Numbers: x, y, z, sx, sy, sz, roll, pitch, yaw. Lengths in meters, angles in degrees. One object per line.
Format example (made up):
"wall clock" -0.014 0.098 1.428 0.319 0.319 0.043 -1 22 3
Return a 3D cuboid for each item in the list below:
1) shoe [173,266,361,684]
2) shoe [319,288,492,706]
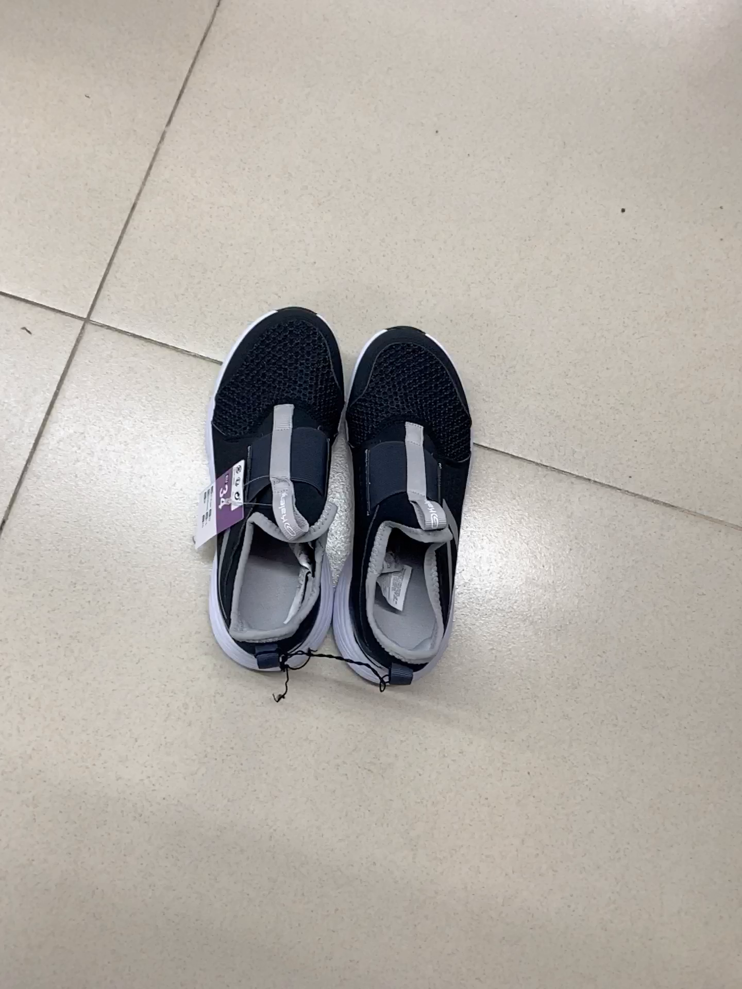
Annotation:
"shoe" -0.062 -0.010 0.495 0.090 0.080 0.250 4 79 -4
"shoe" 0.021 0.003 0.497 0.090 0.080 0.250 4 79 -4
